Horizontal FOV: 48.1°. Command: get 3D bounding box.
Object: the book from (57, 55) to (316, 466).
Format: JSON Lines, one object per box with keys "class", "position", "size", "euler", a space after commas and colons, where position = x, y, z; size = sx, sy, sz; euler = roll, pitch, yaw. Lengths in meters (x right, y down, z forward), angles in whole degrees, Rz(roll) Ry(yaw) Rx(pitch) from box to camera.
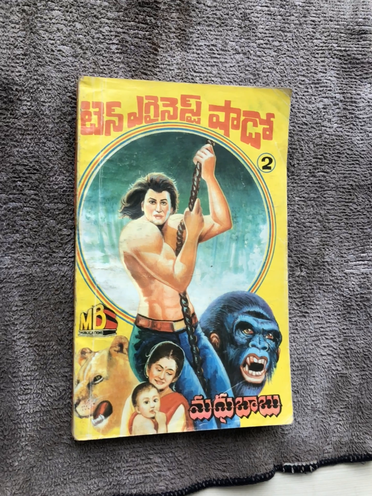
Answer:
{"class": "book", "position": [0.001, 0.003, 0.185], "size": [0.110, 0.020, 0.160], "euler": [0, 87, -14]}
